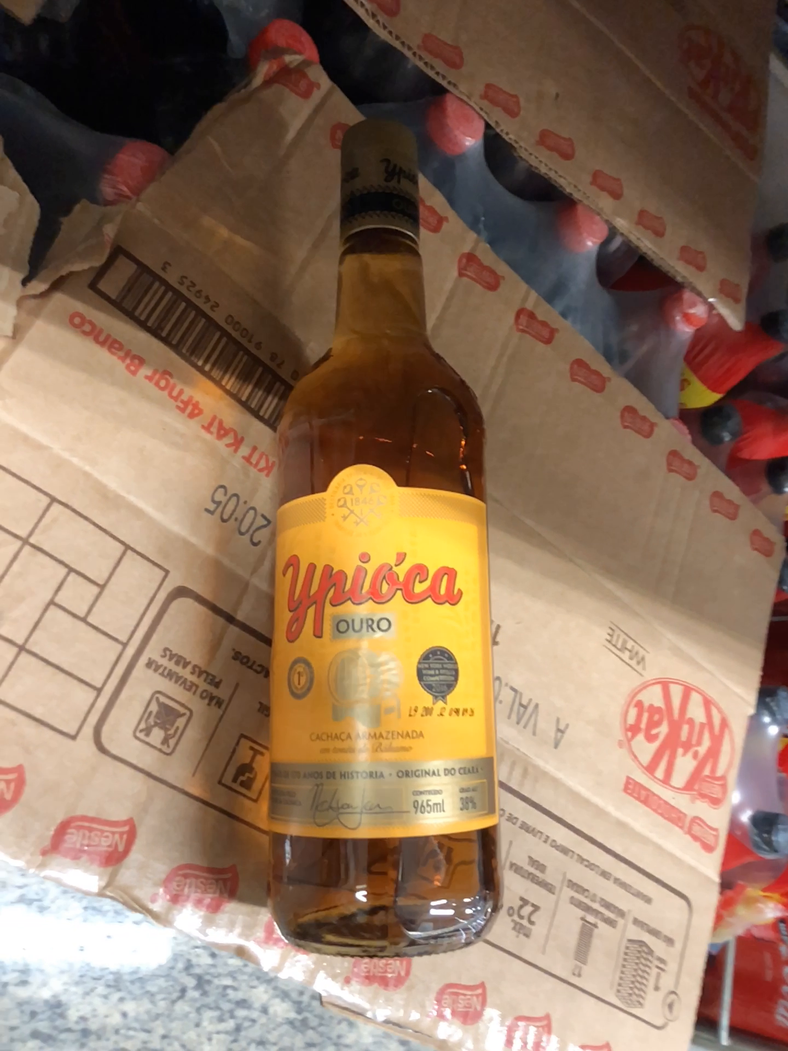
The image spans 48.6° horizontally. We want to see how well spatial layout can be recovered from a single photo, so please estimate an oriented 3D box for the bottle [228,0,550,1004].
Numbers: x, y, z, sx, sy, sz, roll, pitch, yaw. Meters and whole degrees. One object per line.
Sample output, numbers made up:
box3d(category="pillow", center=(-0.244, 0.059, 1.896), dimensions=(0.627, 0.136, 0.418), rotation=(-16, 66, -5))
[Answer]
box3d(category="bottle", center=(0.004, -0.016, 0.313), dimensions=(0.090, 0.080, 0.310), rotation=(37, 52, -69))
